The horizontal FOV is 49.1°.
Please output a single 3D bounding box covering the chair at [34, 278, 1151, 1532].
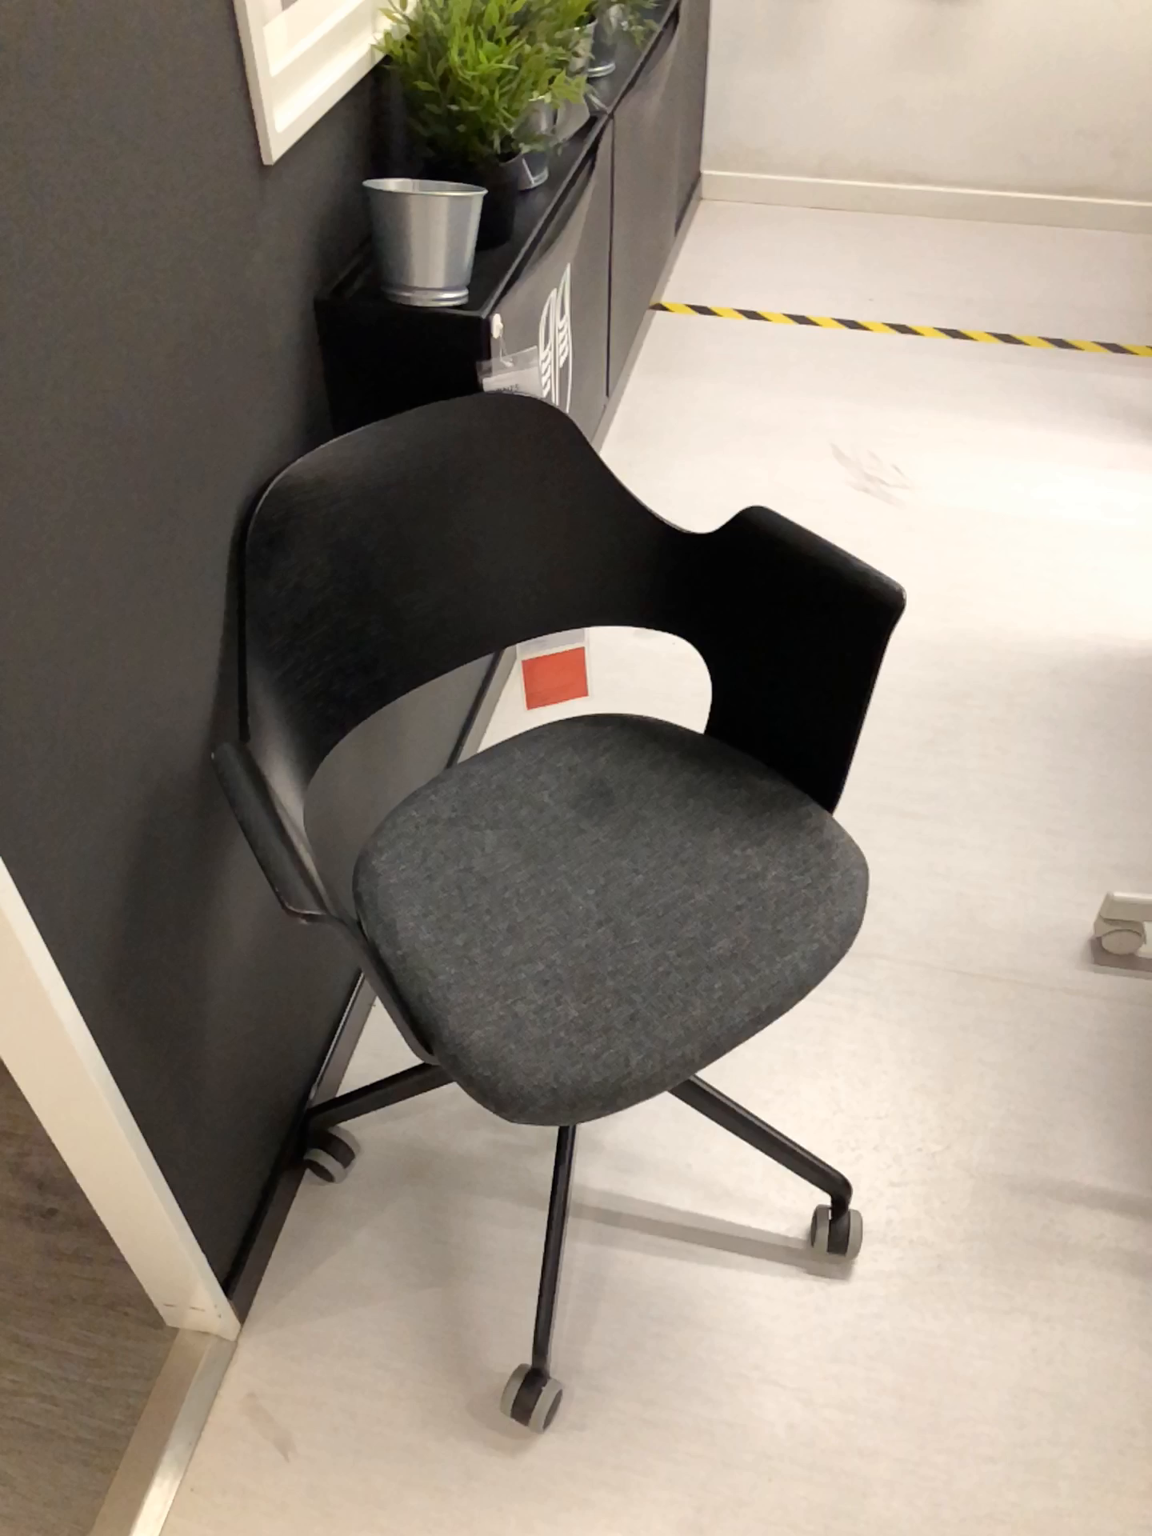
[{"bbox_3d":[0.037,0.115,1.126,0.661,0.755,0.563,-23,50,-20],"label":"chair"}]
